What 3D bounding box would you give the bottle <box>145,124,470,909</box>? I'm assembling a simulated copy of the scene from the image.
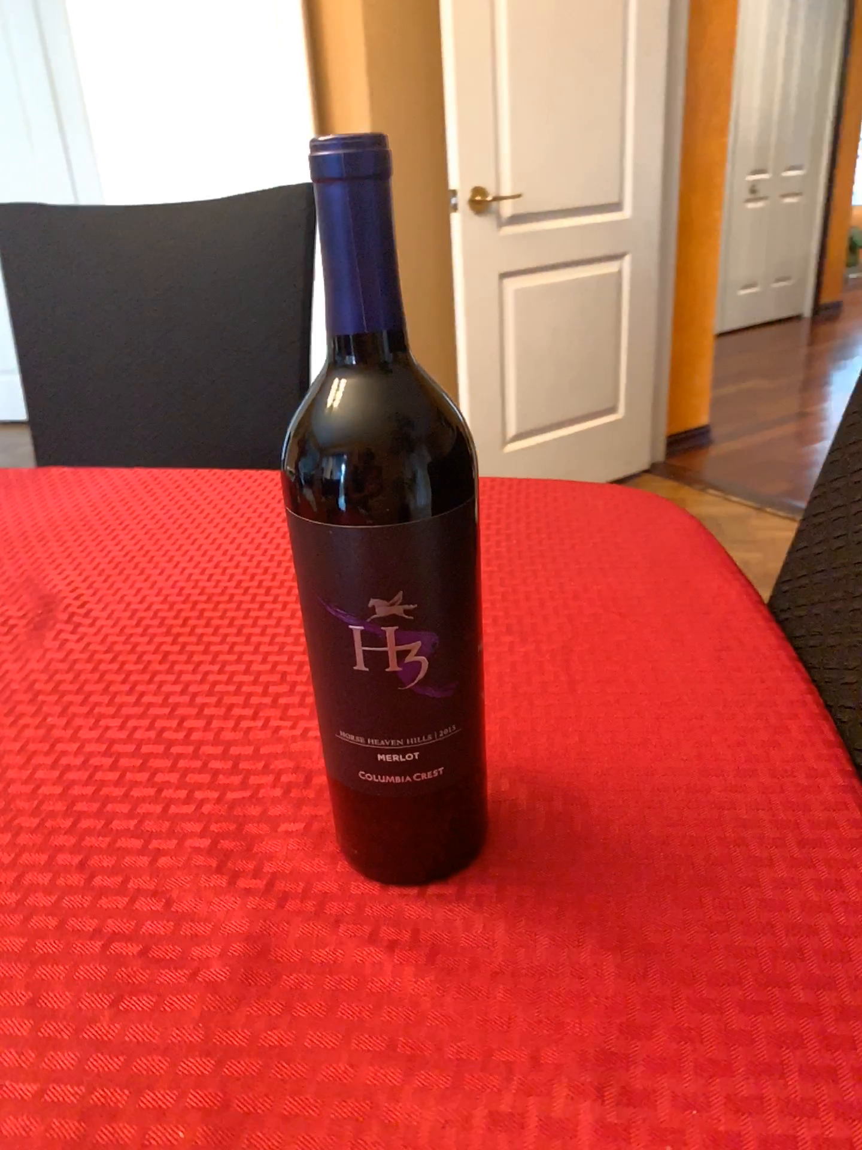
[{"bbox_3d":[-0.033,-0.011,0.347,0.080,0.288,0.080,-3,25,1],"label":"bottle"}]
